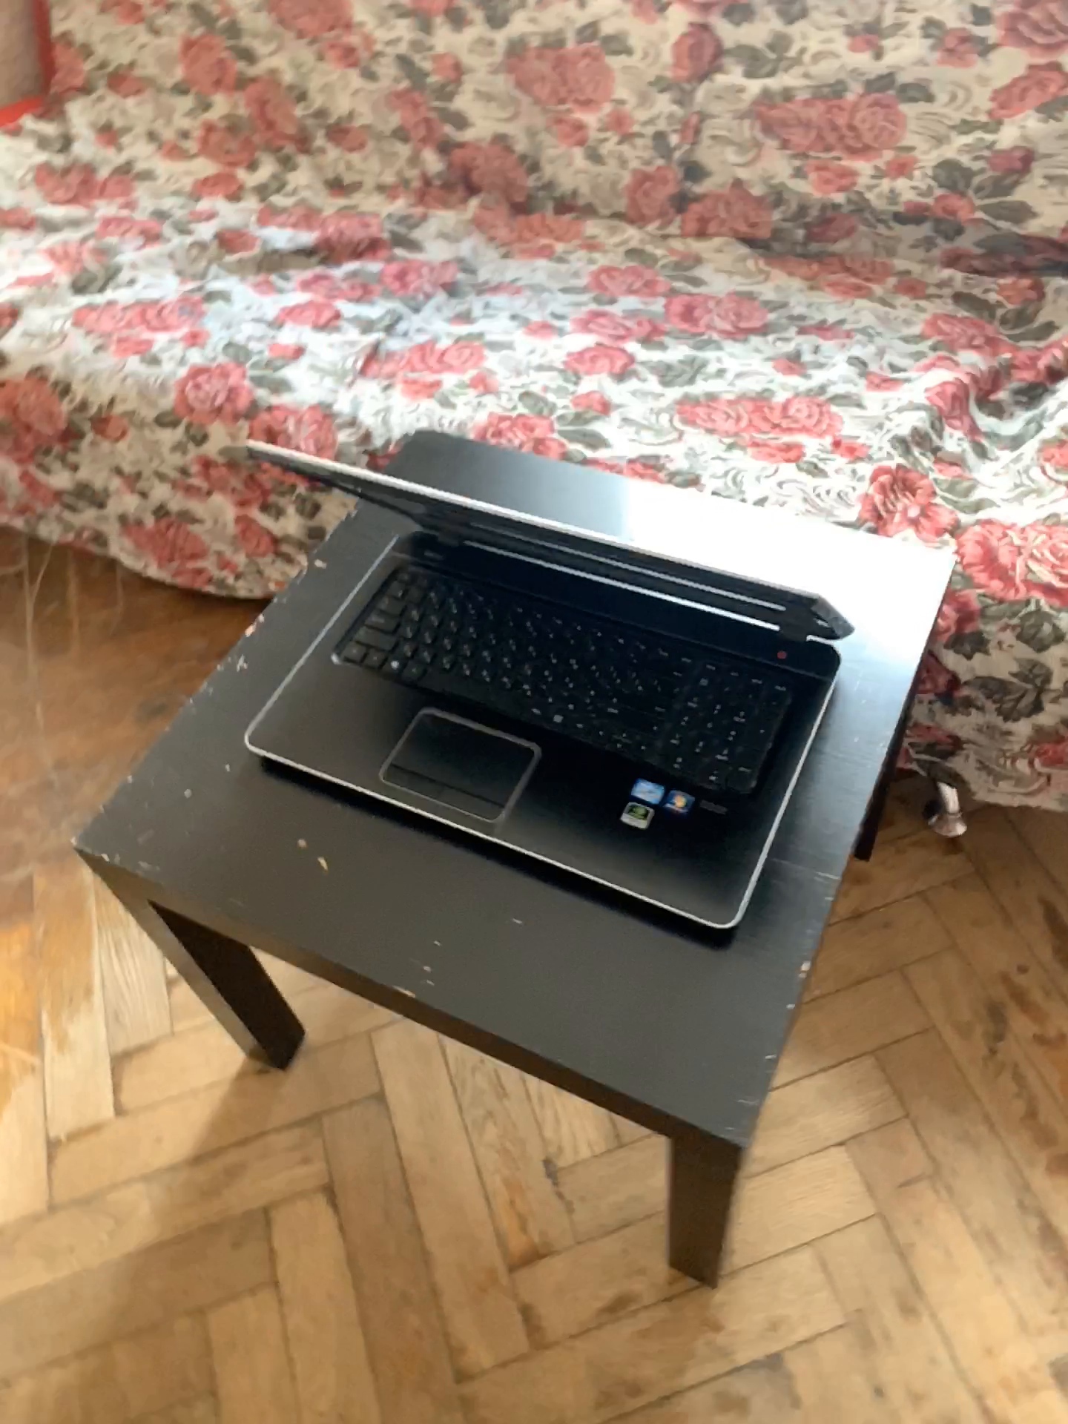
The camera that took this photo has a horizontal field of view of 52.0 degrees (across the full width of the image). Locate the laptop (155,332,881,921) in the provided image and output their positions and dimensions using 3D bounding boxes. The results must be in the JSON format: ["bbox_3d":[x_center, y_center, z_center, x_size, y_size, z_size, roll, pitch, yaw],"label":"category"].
[{"bbox_3d":[-0.003,-0.077,0.794,0.404,0.201,0.258,19,57,20],"label":"laptop"}]
